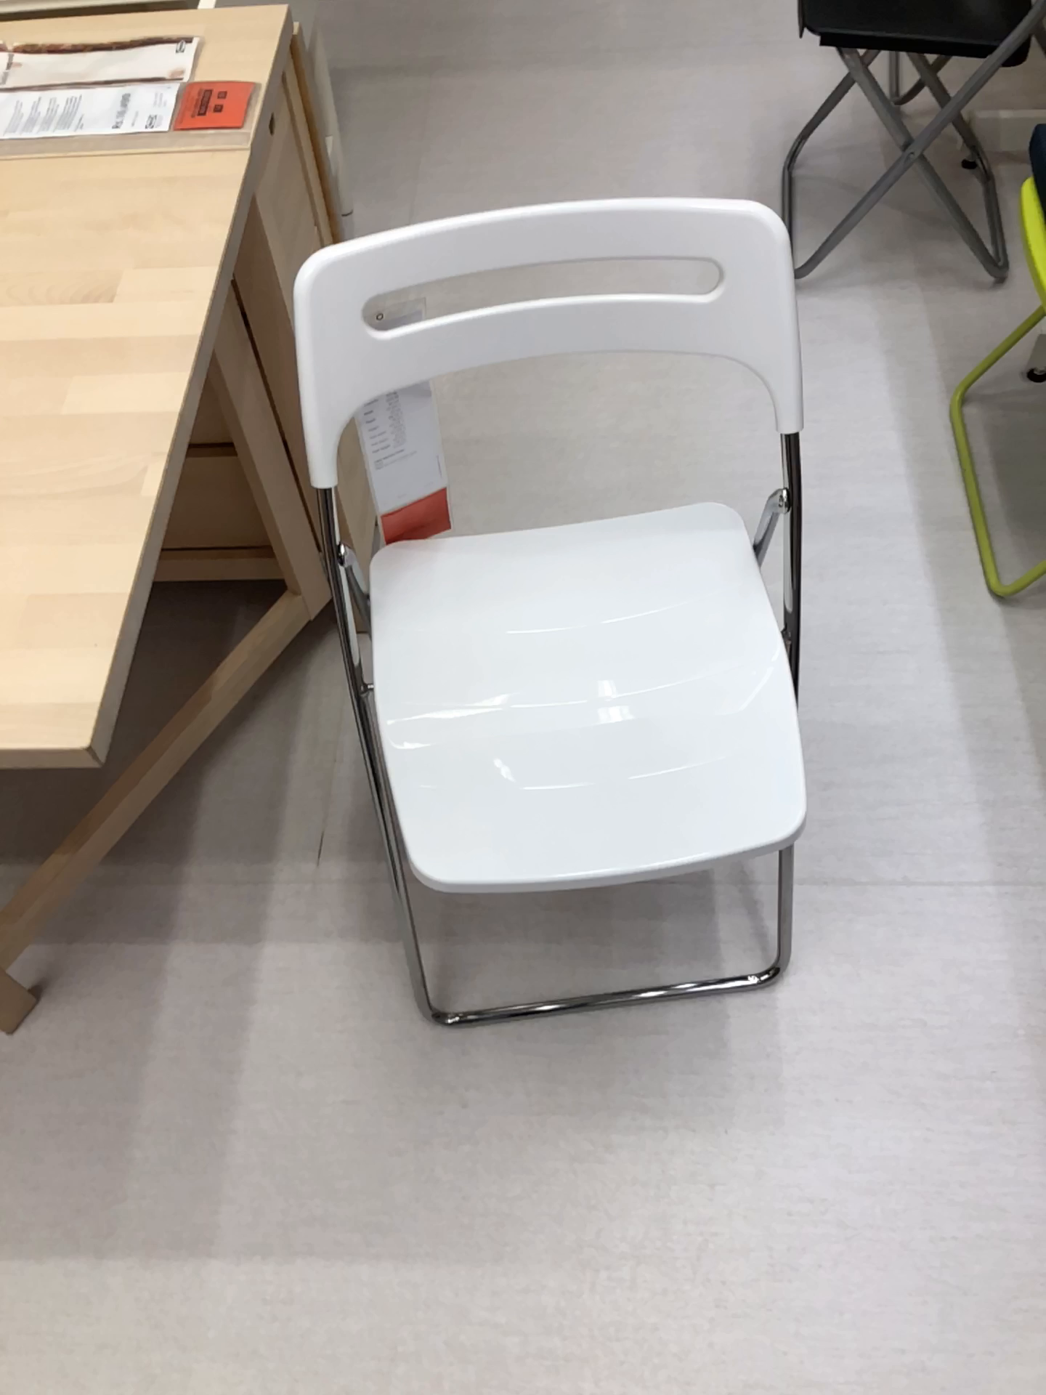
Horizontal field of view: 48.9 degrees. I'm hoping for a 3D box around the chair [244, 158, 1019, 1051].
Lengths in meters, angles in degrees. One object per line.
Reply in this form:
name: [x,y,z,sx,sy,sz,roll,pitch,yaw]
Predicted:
chair: [0.060,-0.017,1.063,0.440,0.716,0.422,-7,56,-1]
